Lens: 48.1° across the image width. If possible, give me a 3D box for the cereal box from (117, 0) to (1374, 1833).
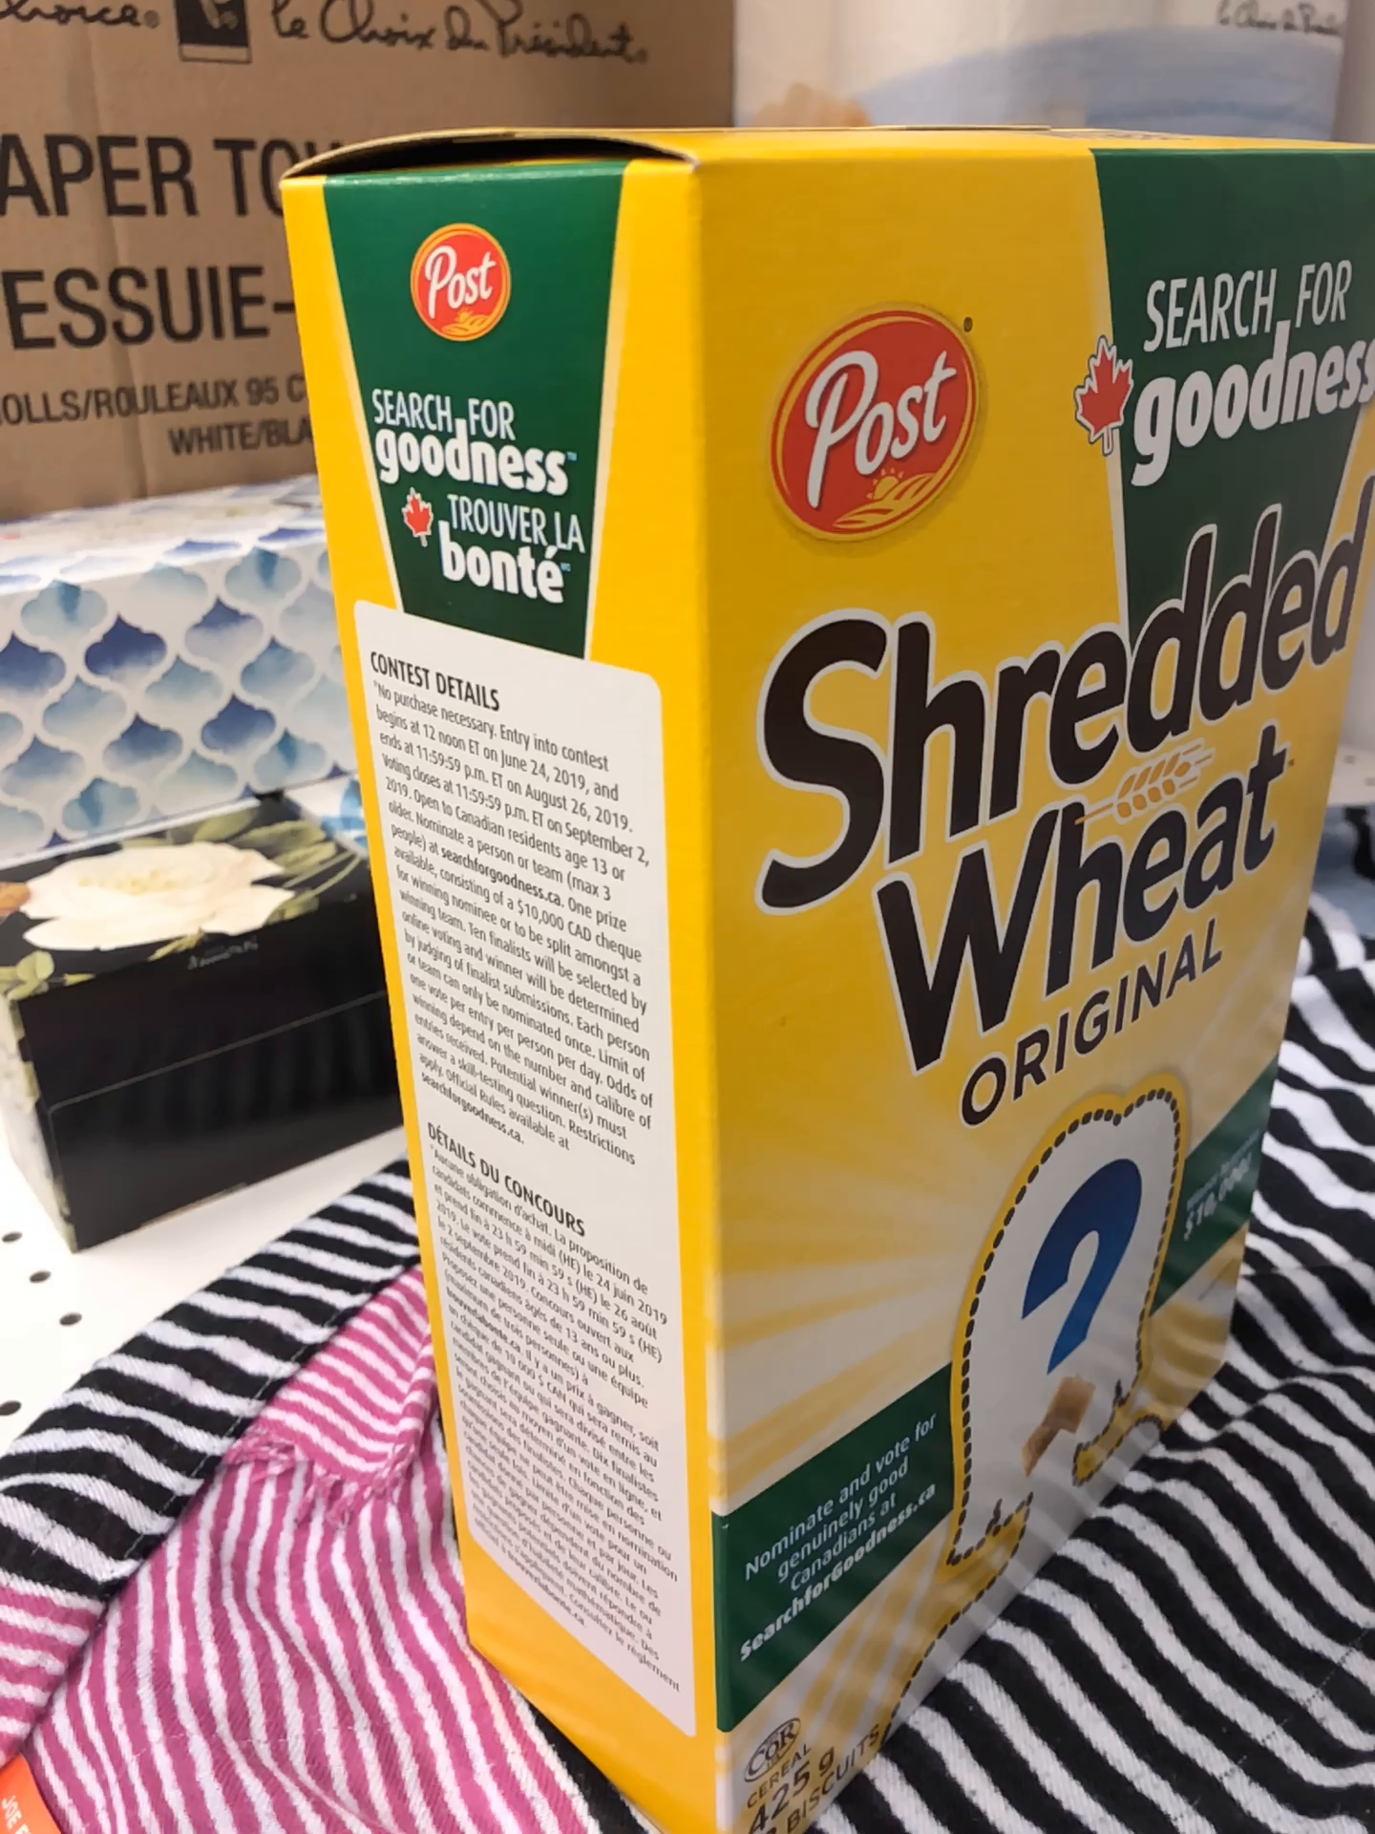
[{"bbox_3d":[0.036,-0.003,0.282,0.080,0.269,0.210,20,32,38],"label":"cereal box"}]
